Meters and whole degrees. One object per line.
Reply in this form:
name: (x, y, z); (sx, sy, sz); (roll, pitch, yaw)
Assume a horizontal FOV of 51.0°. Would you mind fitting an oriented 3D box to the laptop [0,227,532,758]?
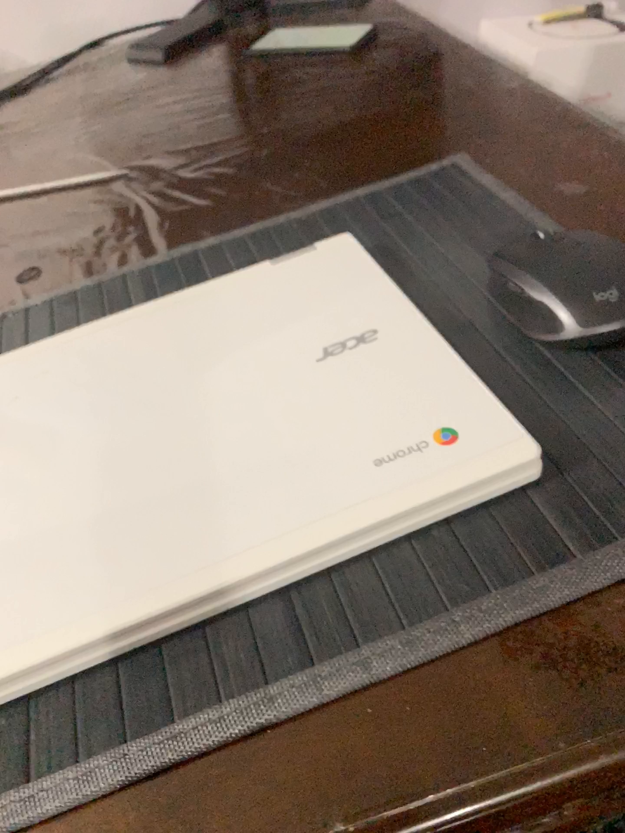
laptop: (-0.081, 0.002, 0.299); (0.278, 0.002, 0.195); (-22, 44, -5)
